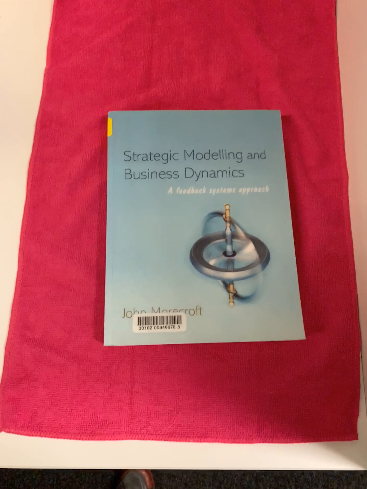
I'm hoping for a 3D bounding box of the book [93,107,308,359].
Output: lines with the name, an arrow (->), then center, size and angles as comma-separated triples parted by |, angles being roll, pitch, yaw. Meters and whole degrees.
book -> 0.011, -0.019, 0.383 | 0.193, 0.033, 0.251 | -2, 76, -2
